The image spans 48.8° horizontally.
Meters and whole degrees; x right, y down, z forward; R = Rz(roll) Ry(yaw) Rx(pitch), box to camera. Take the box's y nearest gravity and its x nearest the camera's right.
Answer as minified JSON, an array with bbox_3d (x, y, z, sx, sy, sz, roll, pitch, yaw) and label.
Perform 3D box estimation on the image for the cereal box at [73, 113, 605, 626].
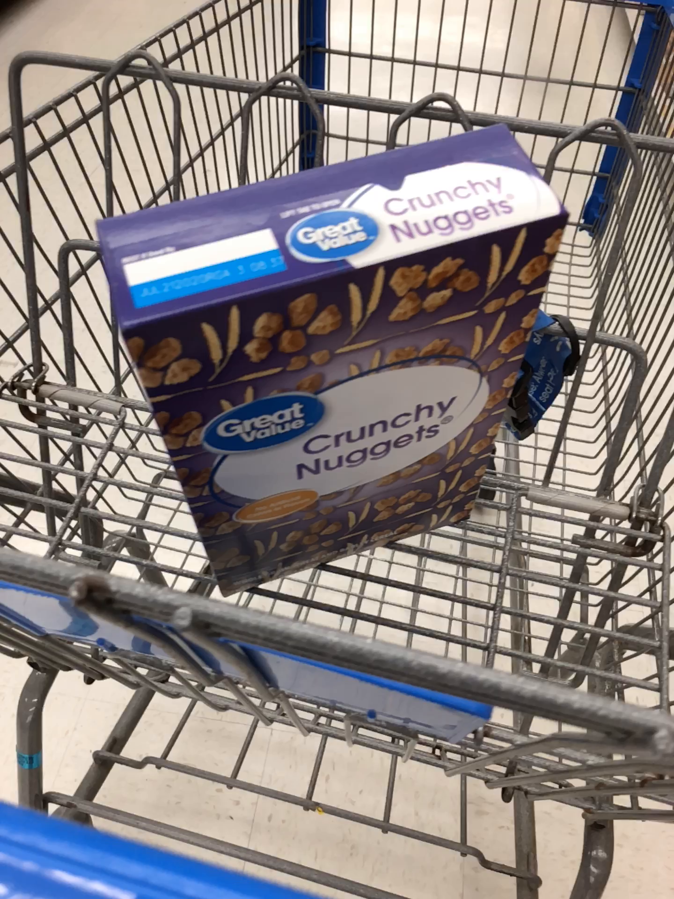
[{"bbox_3d":[-0.001,-0.015,0.351,0.170,0.240,0.060,-17,58,-13],"label":"cereal box"}]
